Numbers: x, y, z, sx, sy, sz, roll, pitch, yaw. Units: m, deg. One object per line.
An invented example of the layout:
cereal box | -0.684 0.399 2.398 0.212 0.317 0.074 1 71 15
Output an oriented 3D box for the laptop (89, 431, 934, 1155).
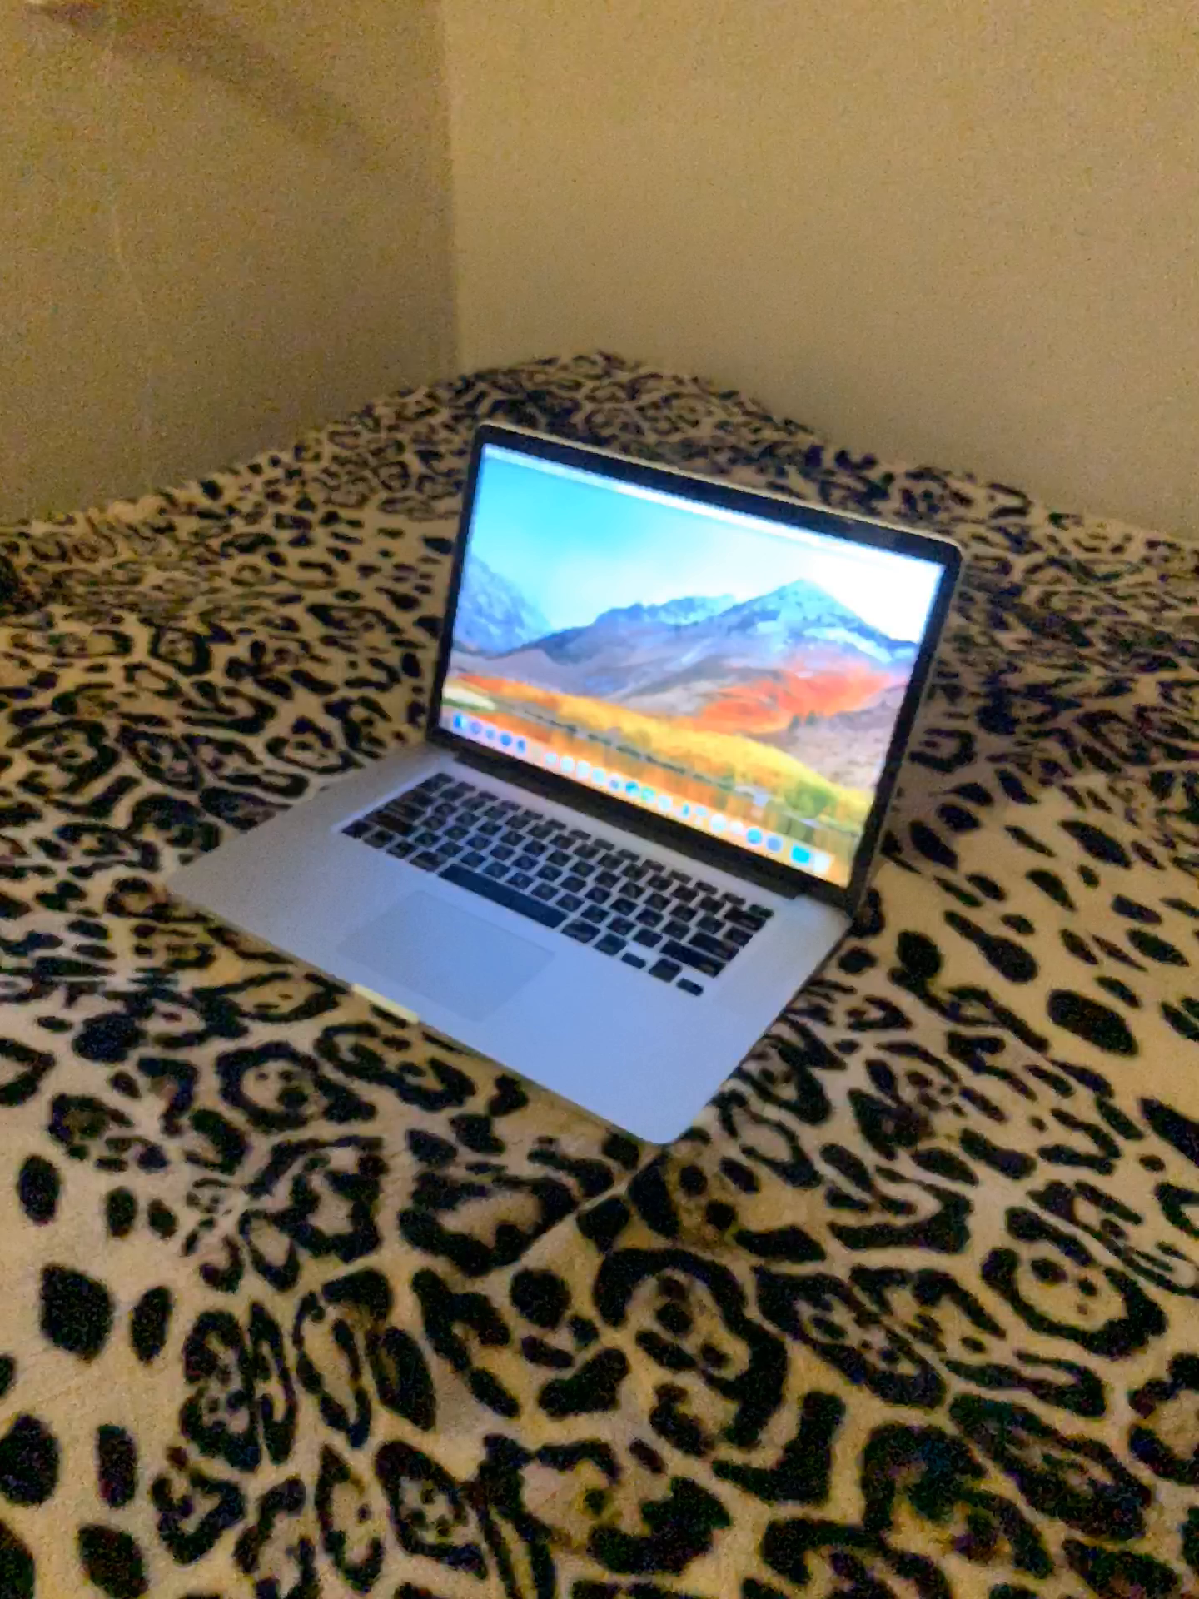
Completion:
laptop | -0.035 -0.042 0.723 0.349 0.222 0.300 21 35 26
